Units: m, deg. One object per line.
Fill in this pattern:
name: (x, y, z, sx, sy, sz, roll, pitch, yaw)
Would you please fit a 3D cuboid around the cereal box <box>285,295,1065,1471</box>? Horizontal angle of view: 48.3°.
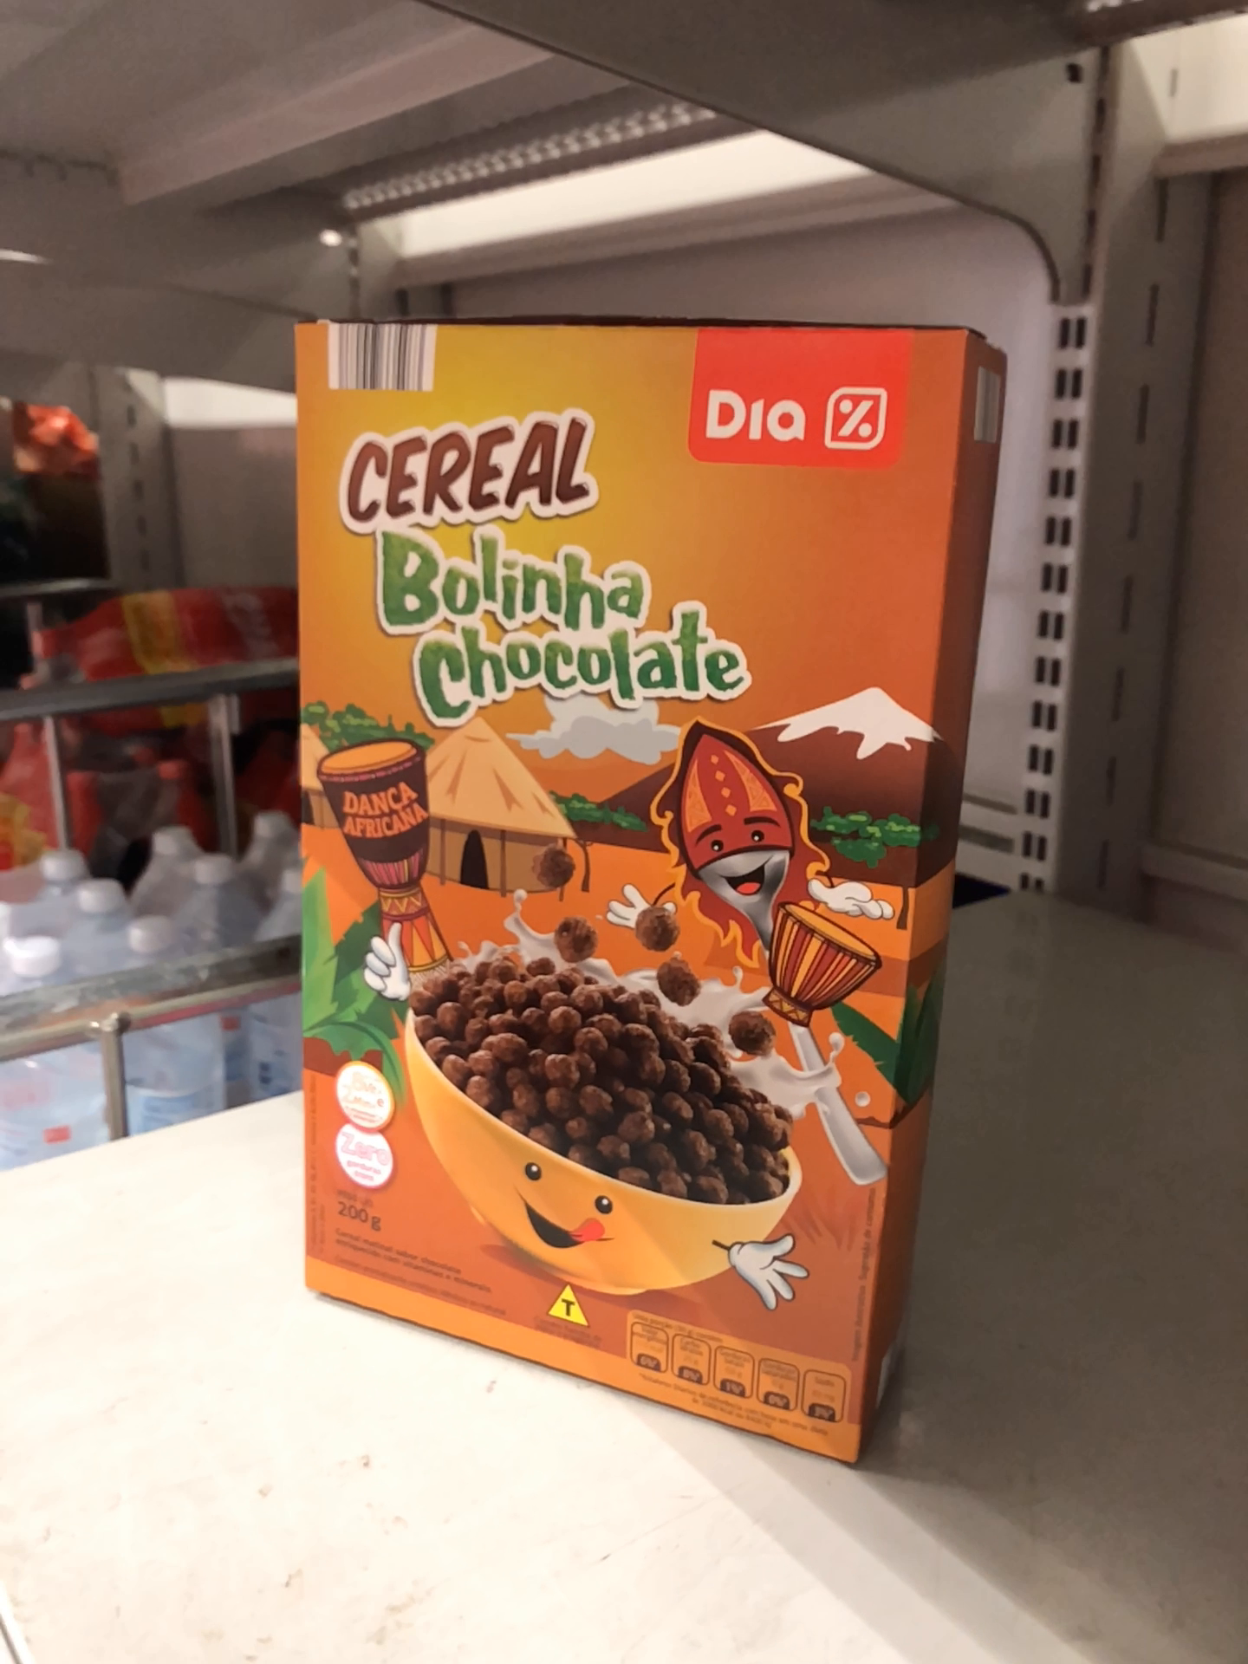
cereal box: (0.004, 0.005, 0.357, 0.170, 0.259, 0.060, 9, 14, 21)
